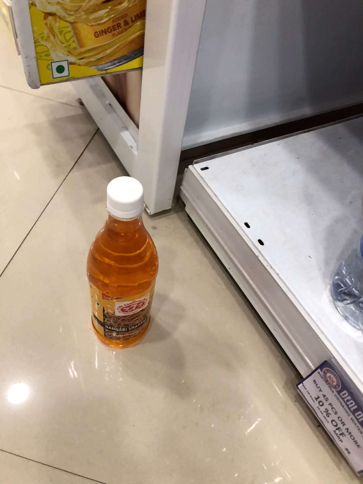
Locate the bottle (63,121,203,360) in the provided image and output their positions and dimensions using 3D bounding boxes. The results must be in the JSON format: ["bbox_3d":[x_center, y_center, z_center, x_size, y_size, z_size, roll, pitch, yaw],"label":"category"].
[{"bbox_3d":[-0.064,0.020,0.459,0.100,0.298,0.100,5,52,-6],"label":"bottle"}]
